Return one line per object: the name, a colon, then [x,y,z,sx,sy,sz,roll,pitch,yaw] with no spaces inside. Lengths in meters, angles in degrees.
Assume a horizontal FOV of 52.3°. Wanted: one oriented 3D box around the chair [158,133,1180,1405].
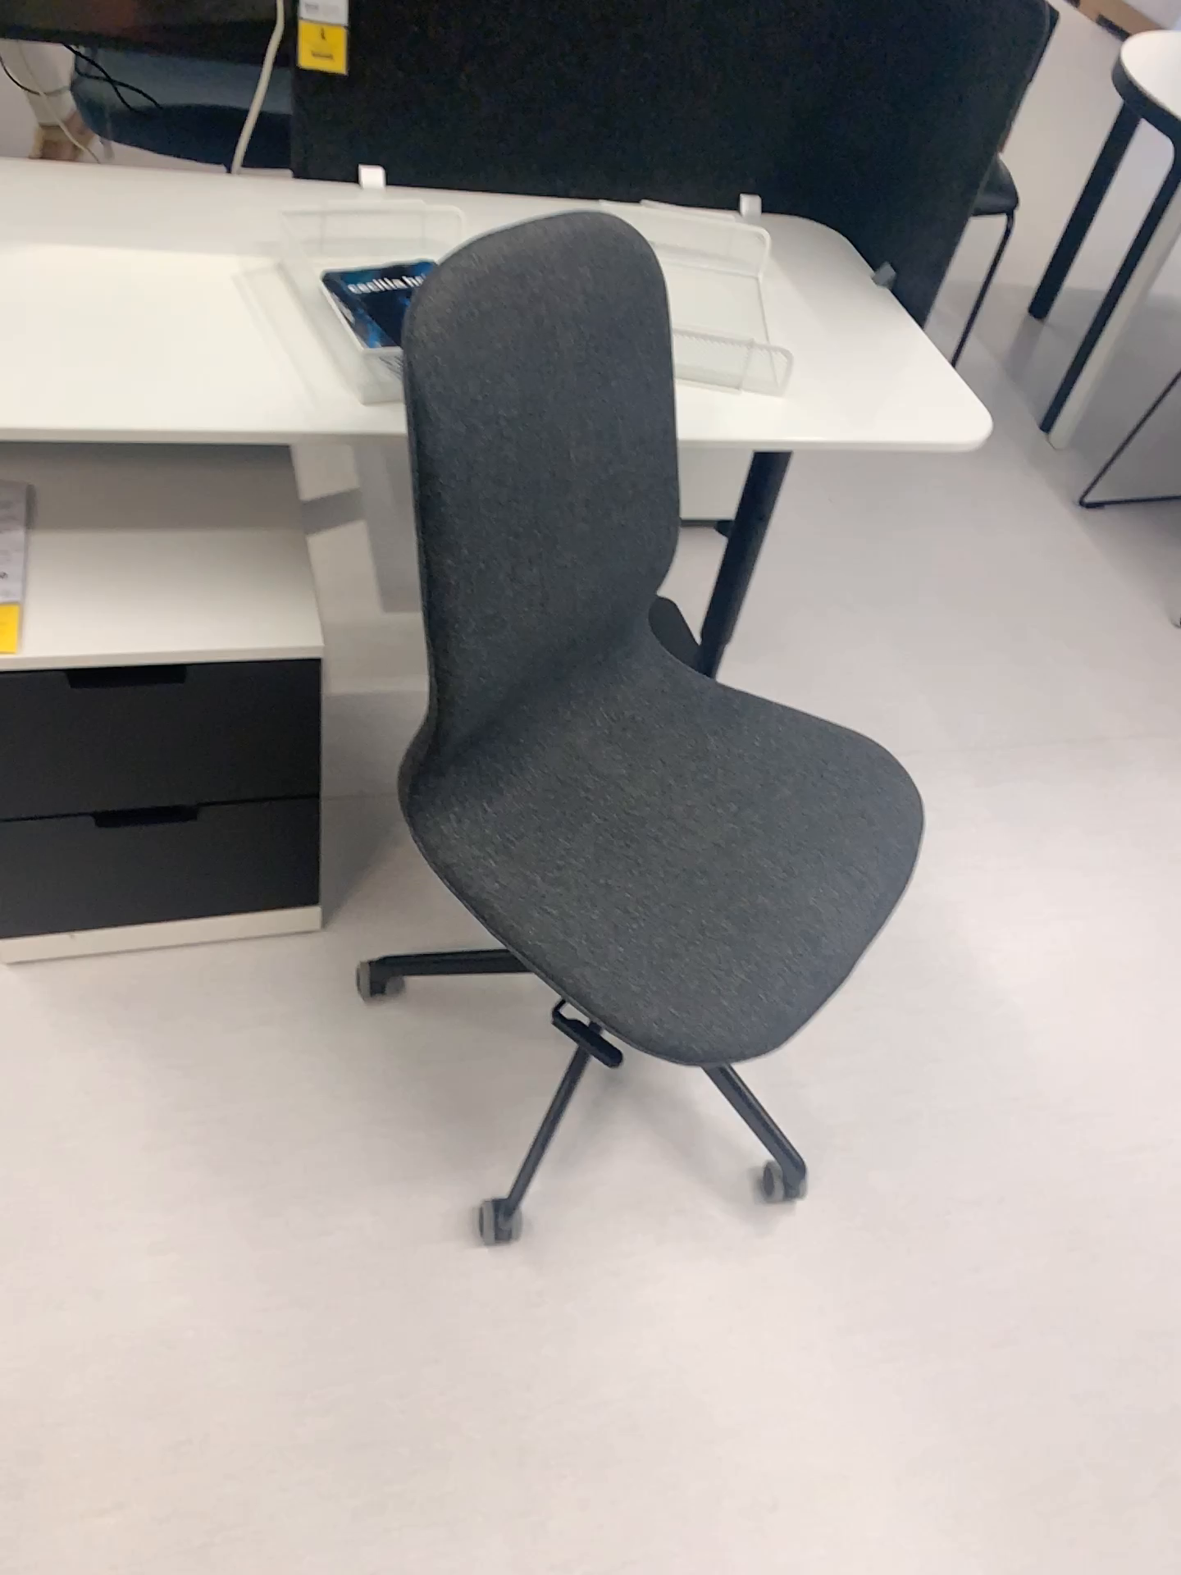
chair: [0.063,0.018,1.266,0.640,0.996,0.632,31,48,15]
